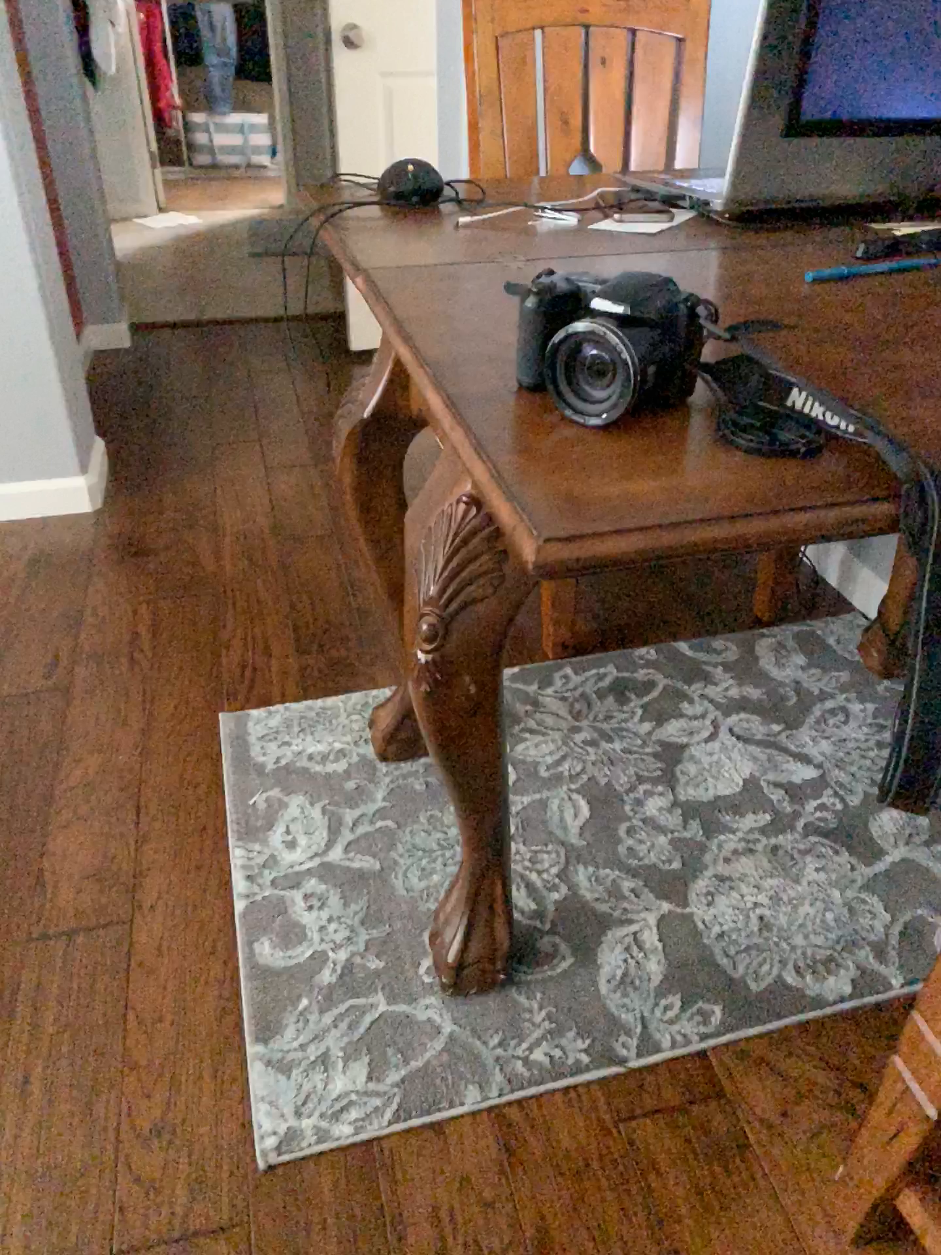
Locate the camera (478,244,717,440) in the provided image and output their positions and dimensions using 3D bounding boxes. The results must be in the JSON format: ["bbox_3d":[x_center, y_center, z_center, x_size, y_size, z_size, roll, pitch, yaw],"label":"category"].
[{"bbox_3d":[0.076,-0.181,0.597,0.110,0.079,0.090,23,39,31],"label":"camera"}]
